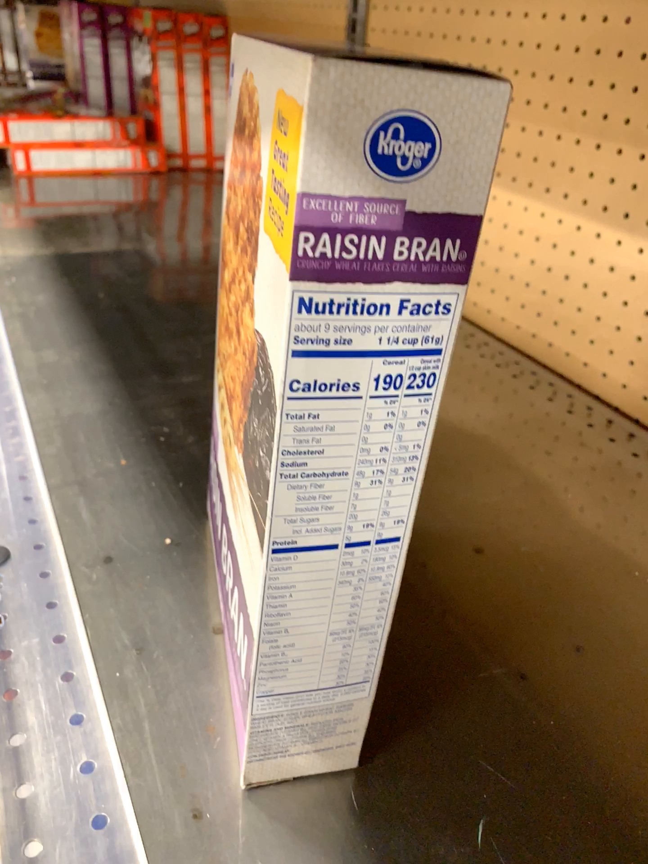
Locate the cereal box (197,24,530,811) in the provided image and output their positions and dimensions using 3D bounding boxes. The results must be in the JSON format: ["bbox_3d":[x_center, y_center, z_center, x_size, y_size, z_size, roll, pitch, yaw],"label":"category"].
[{"bbox_3d":[-0.017,-0.013,0.290,0.050,0.269,0.191,-1,32,-16],"label":"cereal box"}]
